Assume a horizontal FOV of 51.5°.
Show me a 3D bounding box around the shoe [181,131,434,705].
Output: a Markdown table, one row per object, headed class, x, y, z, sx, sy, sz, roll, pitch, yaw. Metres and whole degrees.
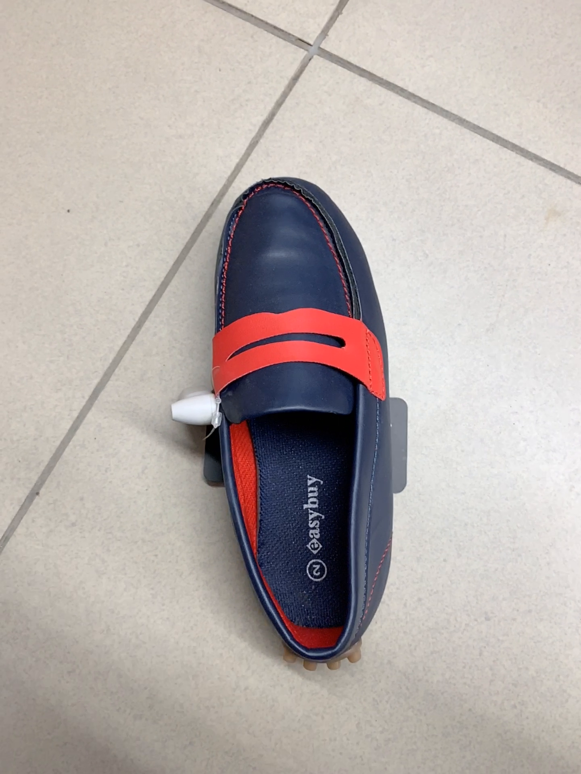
| class | x | y | z | sx | sy | sz | roll | pitch | yaw |
| --- | --- | --- | --- | --- | --- | --- | --- | --- | --- |
| shoe | 0.002 | 0.007 | 0.236 | 0.080 | 0.050 | 0.200 | -2 | 80 | 0 |
